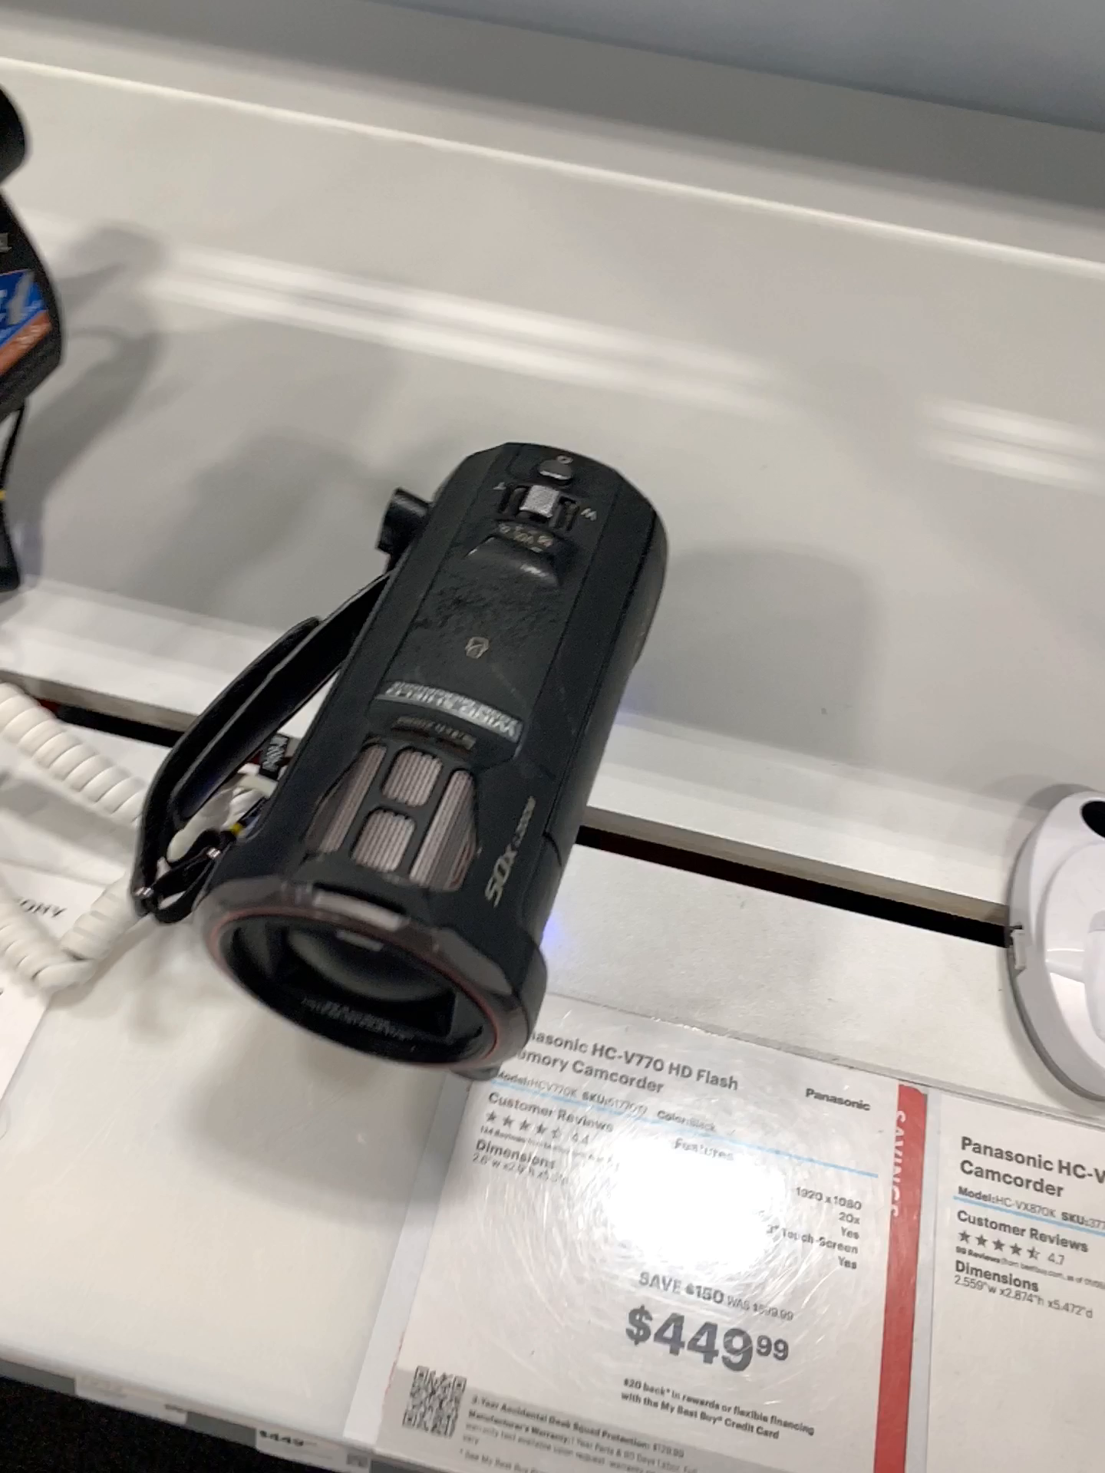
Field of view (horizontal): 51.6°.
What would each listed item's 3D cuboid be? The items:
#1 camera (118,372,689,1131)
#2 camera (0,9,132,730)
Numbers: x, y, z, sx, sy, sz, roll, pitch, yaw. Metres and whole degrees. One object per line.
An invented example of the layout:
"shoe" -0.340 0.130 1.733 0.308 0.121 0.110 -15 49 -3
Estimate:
"camera" -0.021 -0.004 0.239 0.065 0.061 0.139 15 52 5
"camera" -0.185 -0.096 0.279 0.071 0.073 0.167 18 55 6
